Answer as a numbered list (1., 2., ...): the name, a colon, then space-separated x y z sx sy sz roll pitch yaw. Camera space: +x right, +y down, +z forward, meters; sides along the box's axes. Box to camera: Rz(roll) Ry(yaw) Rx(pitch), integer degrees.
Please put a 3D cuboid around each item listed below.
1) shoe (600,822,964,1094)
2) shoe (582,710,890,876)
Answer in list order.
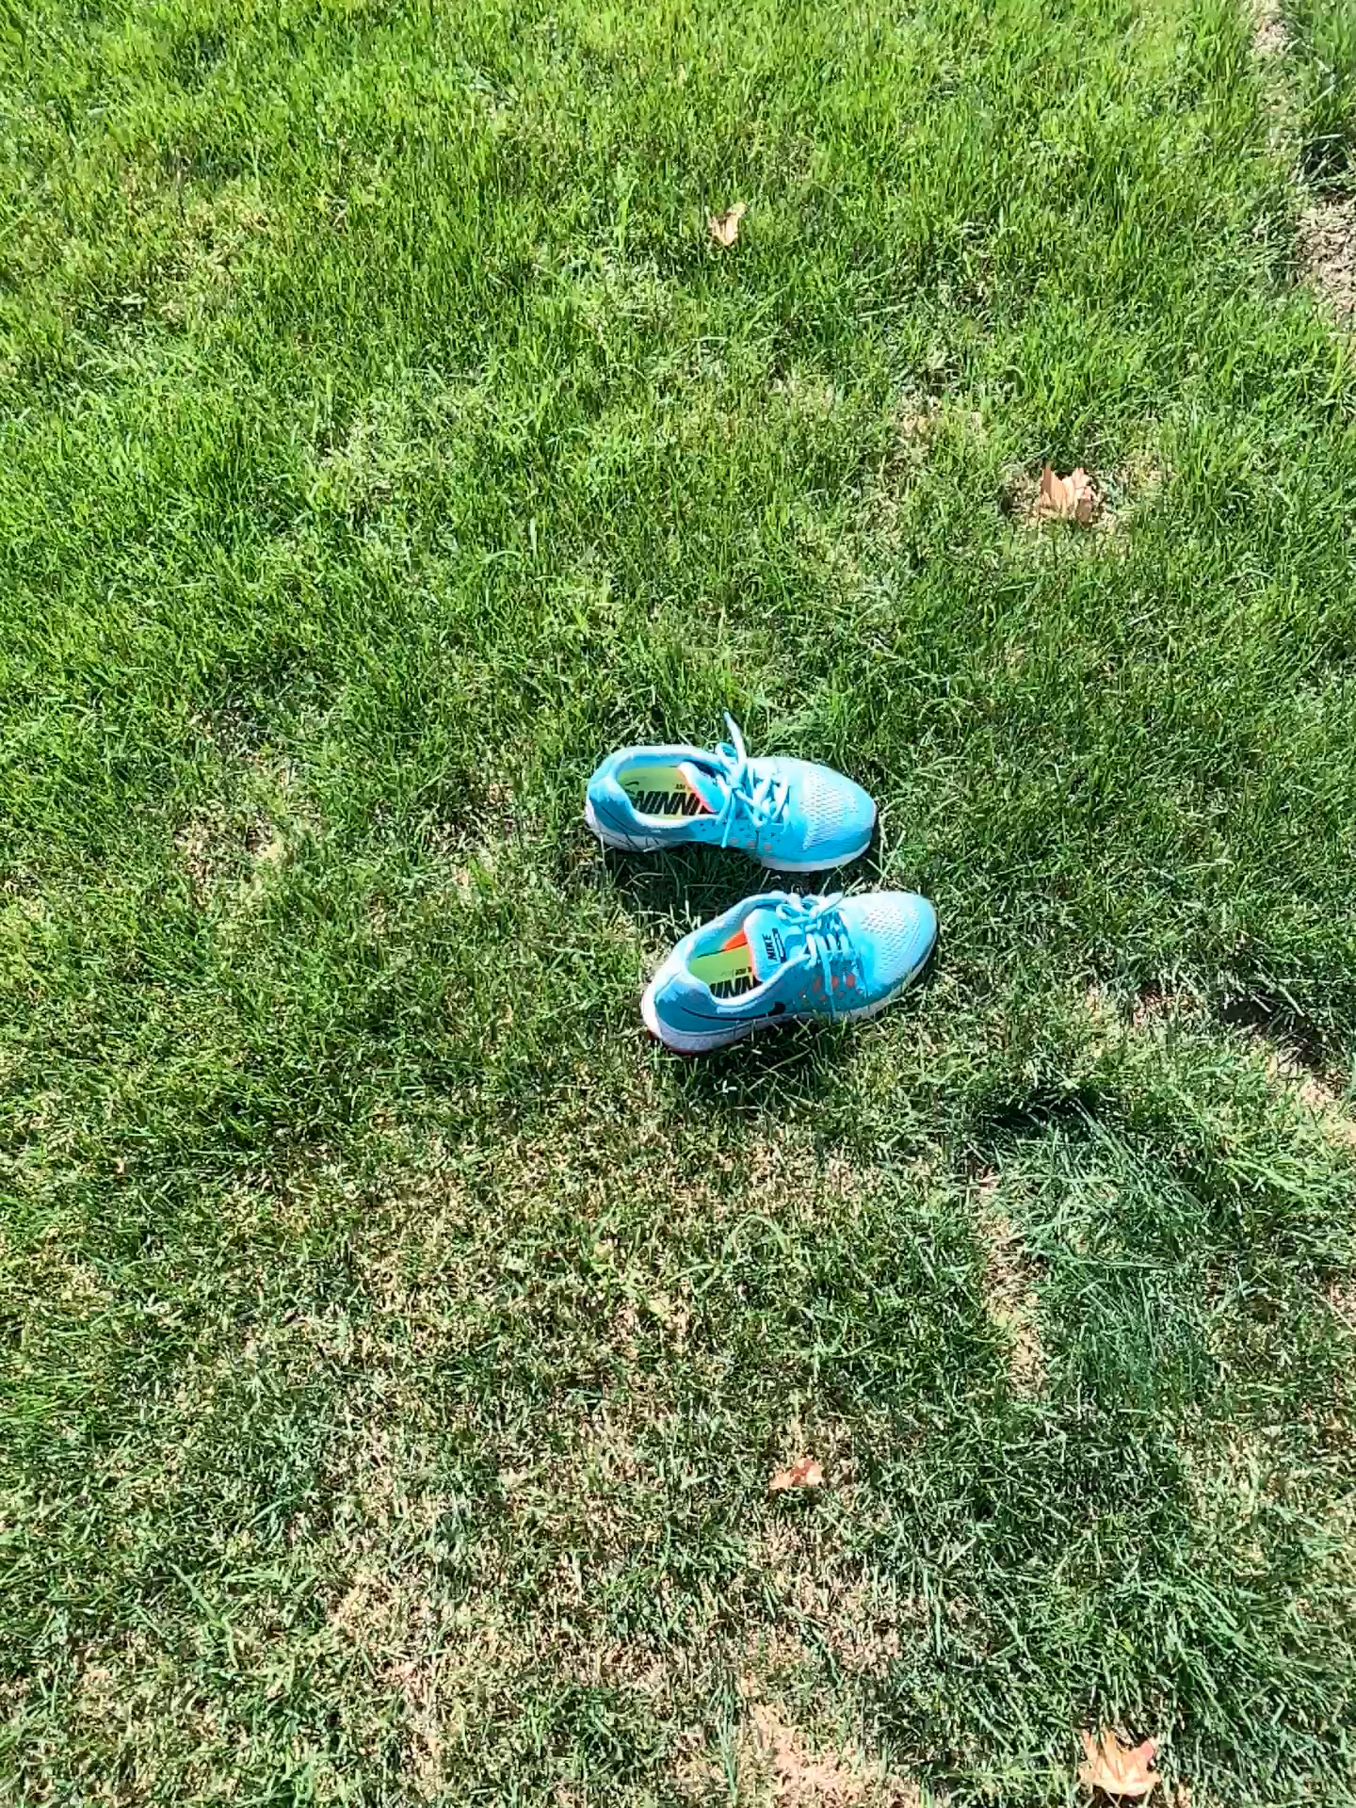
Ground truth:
1. shoe: 0.083 0.044 1.127 0.260 0.090 0.120 -18 65 -4
2. shoe: 0.051 -0.094 1.177 0.250 0.070 0.120 1 67 5
